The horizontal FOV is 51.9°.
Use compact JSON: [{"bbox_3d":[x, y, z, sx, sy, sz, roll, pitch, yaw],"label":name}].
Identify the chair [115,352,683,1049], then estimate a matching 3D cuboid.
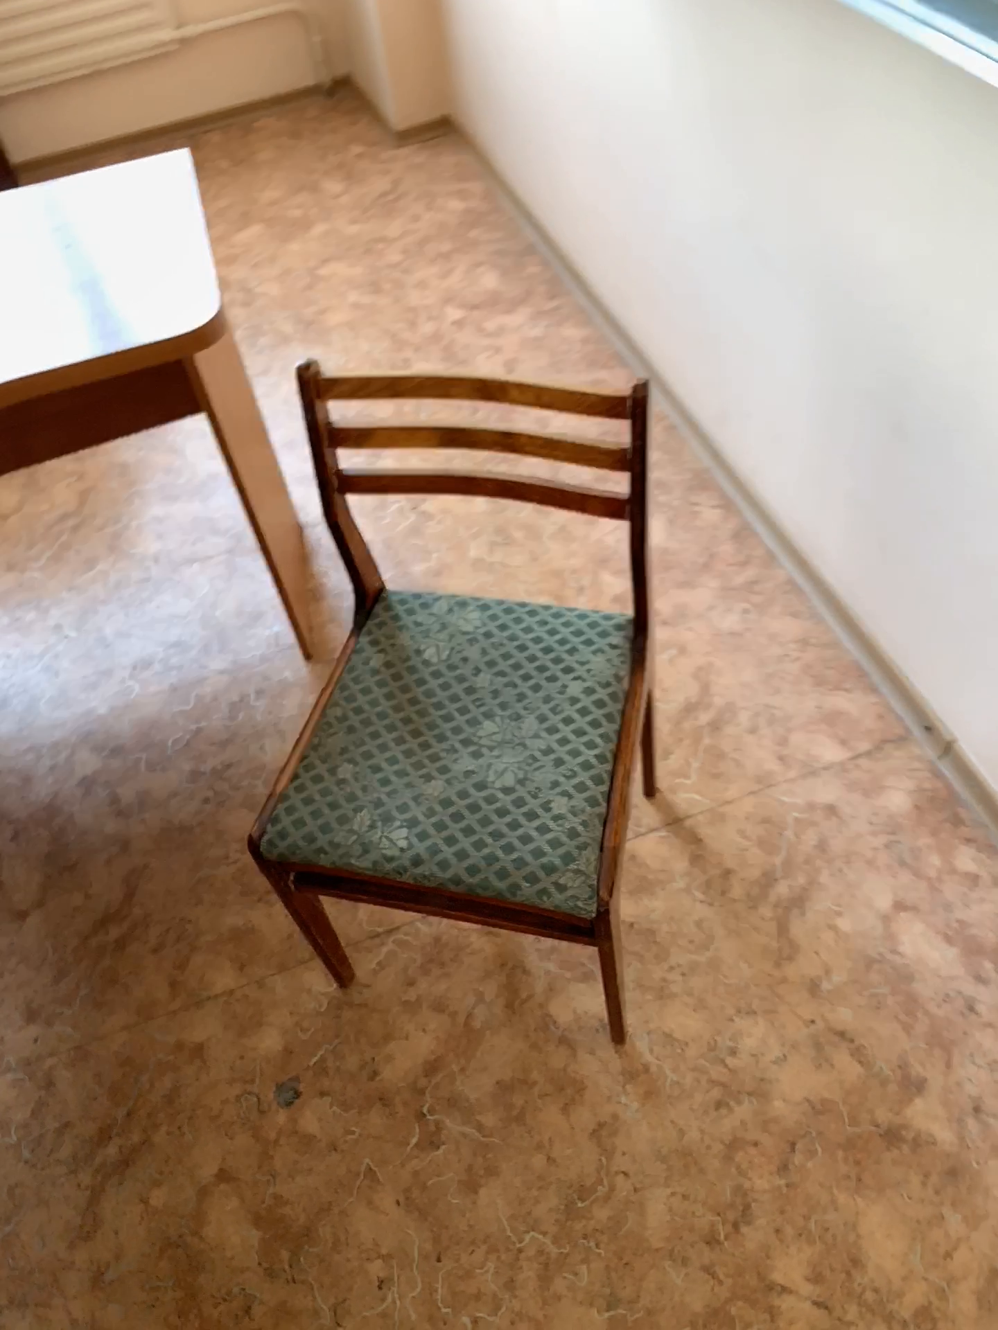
[{"bbox_3d":[-0.028,0.076,1.163,0.401,0.705,0.404,7,52,13],"label":"chair"}]
